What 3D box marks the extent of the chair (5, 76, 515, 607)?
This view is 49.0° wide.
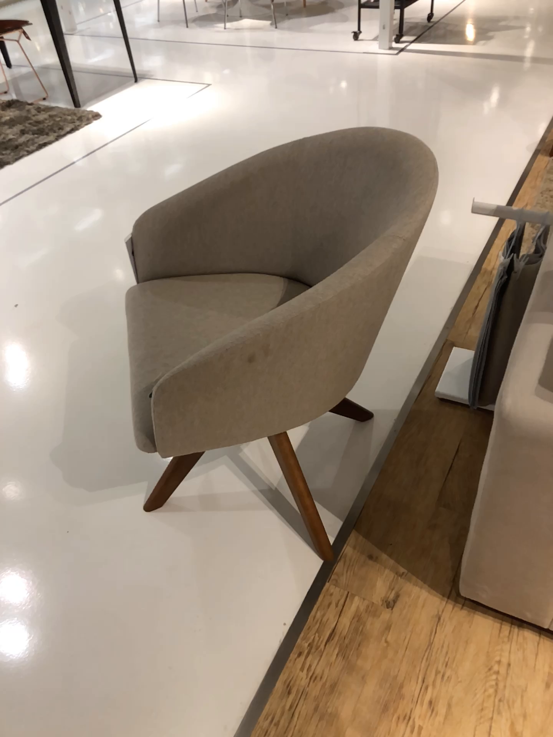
[{"bbox_3d":[-0.047,-0.077,1.343,0.710,0.794,0.695,-12,41,-6],"label":"chair"}]
